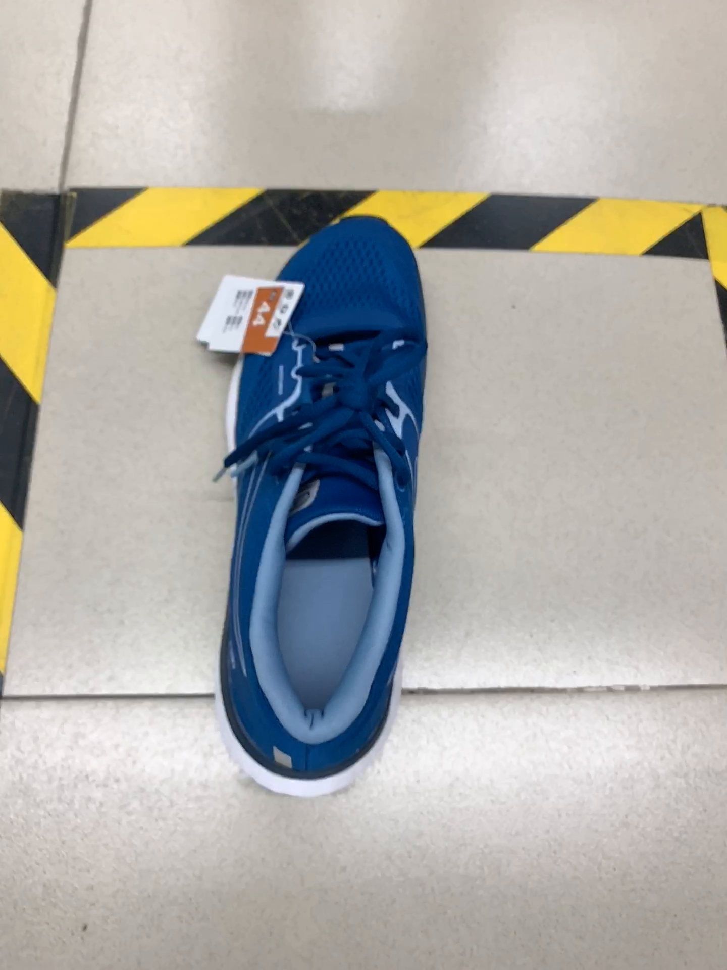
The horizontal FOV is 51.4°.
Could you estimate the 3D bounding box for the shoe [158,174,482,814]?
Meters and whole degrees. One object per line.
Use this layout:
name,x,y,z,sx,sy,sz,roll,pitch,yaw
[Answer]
shoe,-0.012,-0.008,0.351,0.110,0.070,0.290,3,64,-3
